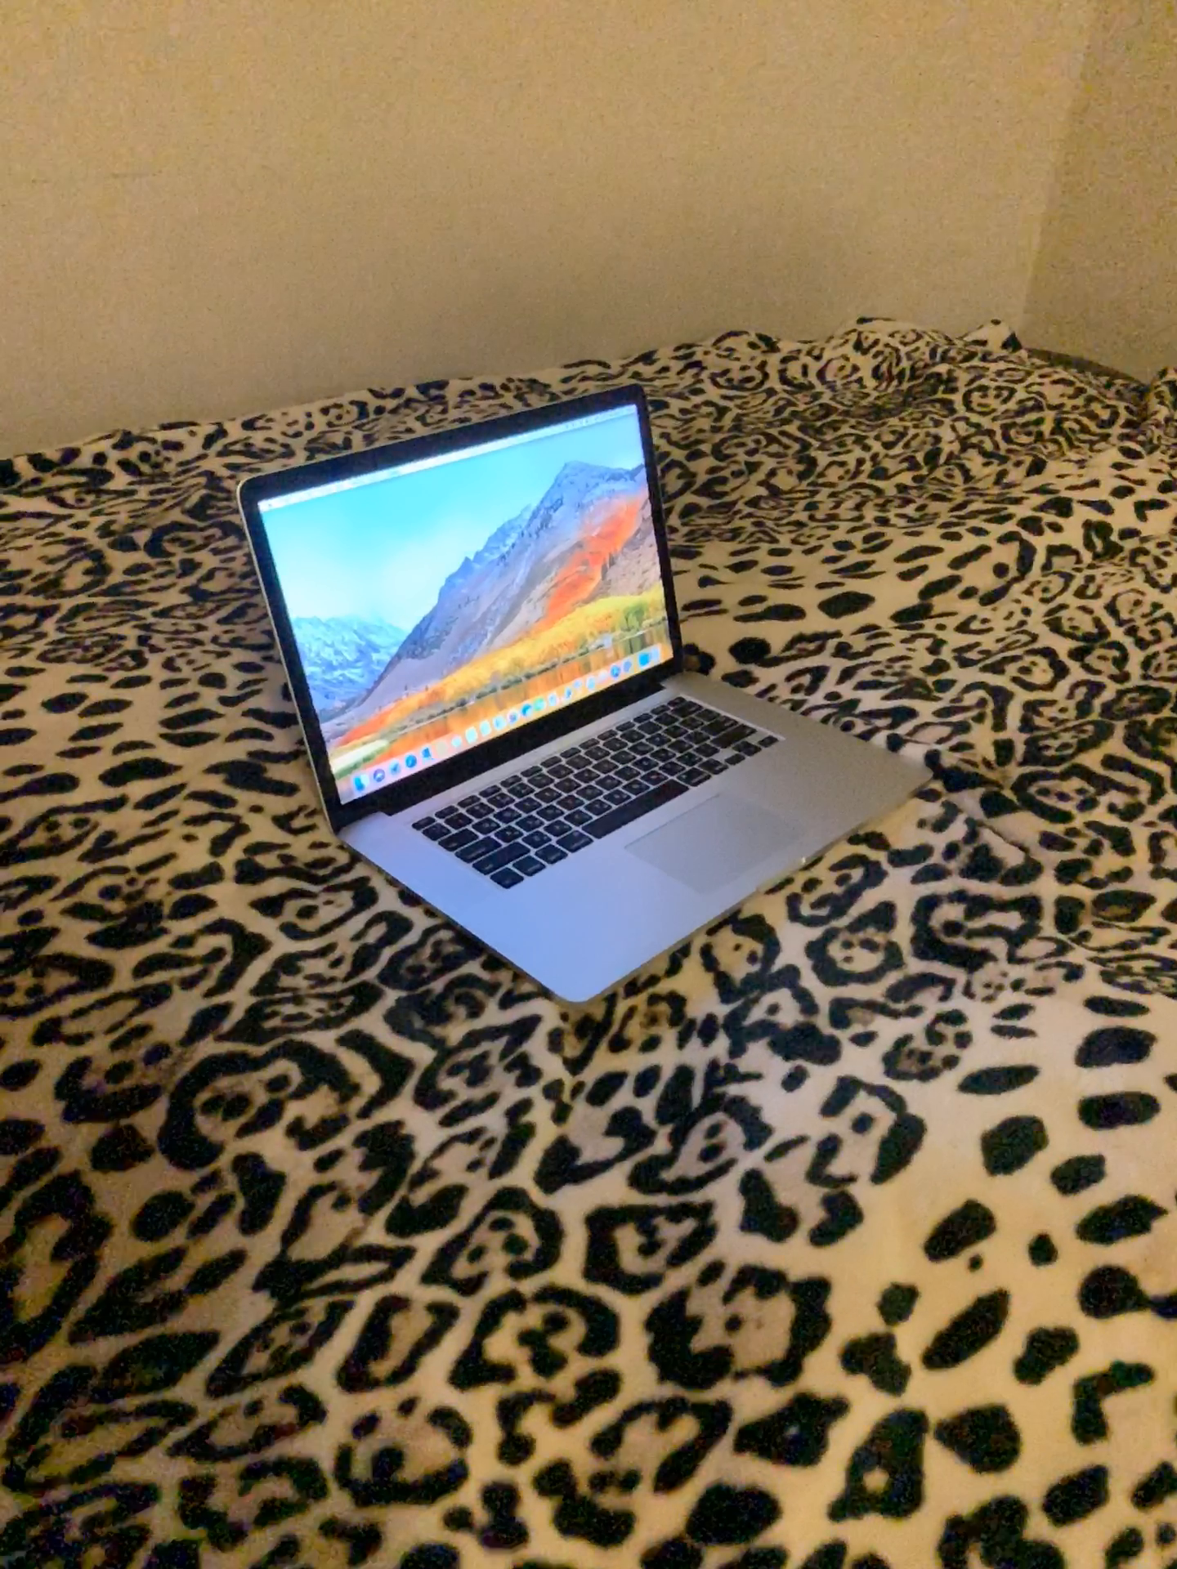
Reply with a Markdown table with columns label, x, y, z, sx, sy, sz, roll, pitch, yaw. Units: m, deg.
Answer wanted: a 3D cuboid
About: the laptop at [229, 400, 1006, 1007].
| label | x | y | z | sx | sy | sz | roll | pitch | yaw |
| --- | --- | --- | --- | --- | --- | --- | --- | --- | --- |
| laptop | 0.017 | -0.085 | 0.783 | 0.350 | 0.222 | 0.300 | -27 | 41 | -35 |
